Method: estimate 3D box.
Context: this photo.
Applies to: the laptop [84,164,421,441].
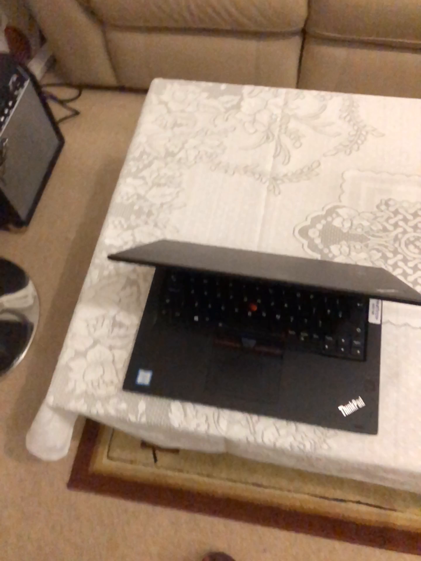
[{"bbox_3d":[0.056,0.027,0.537,0.309,0.174,0.220,9,64,9],"label":"laptop"}]
